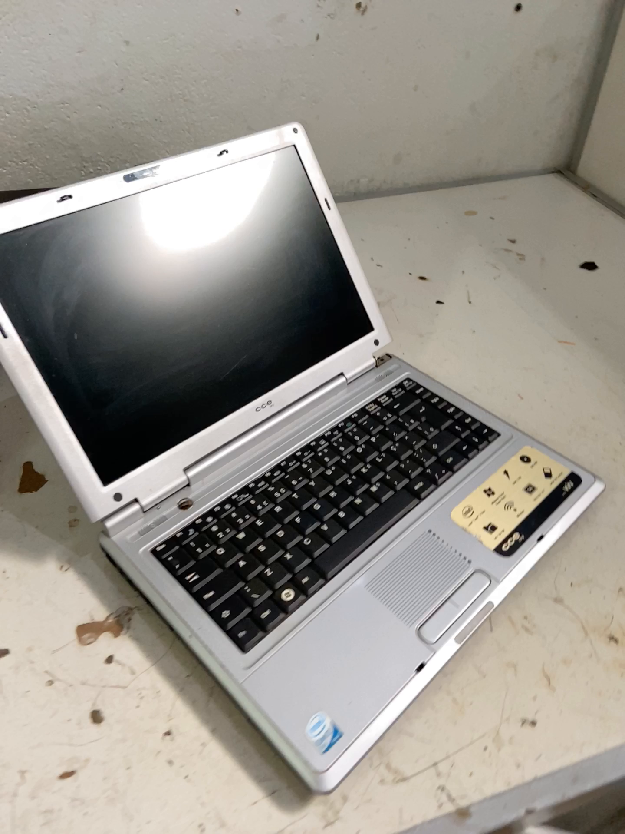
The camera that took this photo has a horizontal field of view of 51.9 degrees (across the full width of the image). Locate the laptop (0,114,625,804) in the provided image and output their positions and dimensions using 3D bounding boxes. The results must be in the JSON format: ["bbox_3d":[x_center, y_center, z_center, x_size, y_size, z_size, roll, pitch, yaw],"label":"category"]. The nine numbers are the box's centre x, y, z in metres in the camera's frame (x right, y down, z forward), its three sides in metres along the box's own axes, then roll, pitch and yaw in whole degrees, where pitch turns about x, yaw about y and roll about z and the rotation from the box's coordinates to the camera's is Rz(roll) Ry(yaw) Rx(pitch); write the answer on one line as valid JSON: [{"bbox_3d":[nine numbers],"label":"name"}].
[{"bbox_3d":[-0.009,-0.035,0.479,0.339,0.190,0.388,-33,54,-32],"label":"laptop"}]
